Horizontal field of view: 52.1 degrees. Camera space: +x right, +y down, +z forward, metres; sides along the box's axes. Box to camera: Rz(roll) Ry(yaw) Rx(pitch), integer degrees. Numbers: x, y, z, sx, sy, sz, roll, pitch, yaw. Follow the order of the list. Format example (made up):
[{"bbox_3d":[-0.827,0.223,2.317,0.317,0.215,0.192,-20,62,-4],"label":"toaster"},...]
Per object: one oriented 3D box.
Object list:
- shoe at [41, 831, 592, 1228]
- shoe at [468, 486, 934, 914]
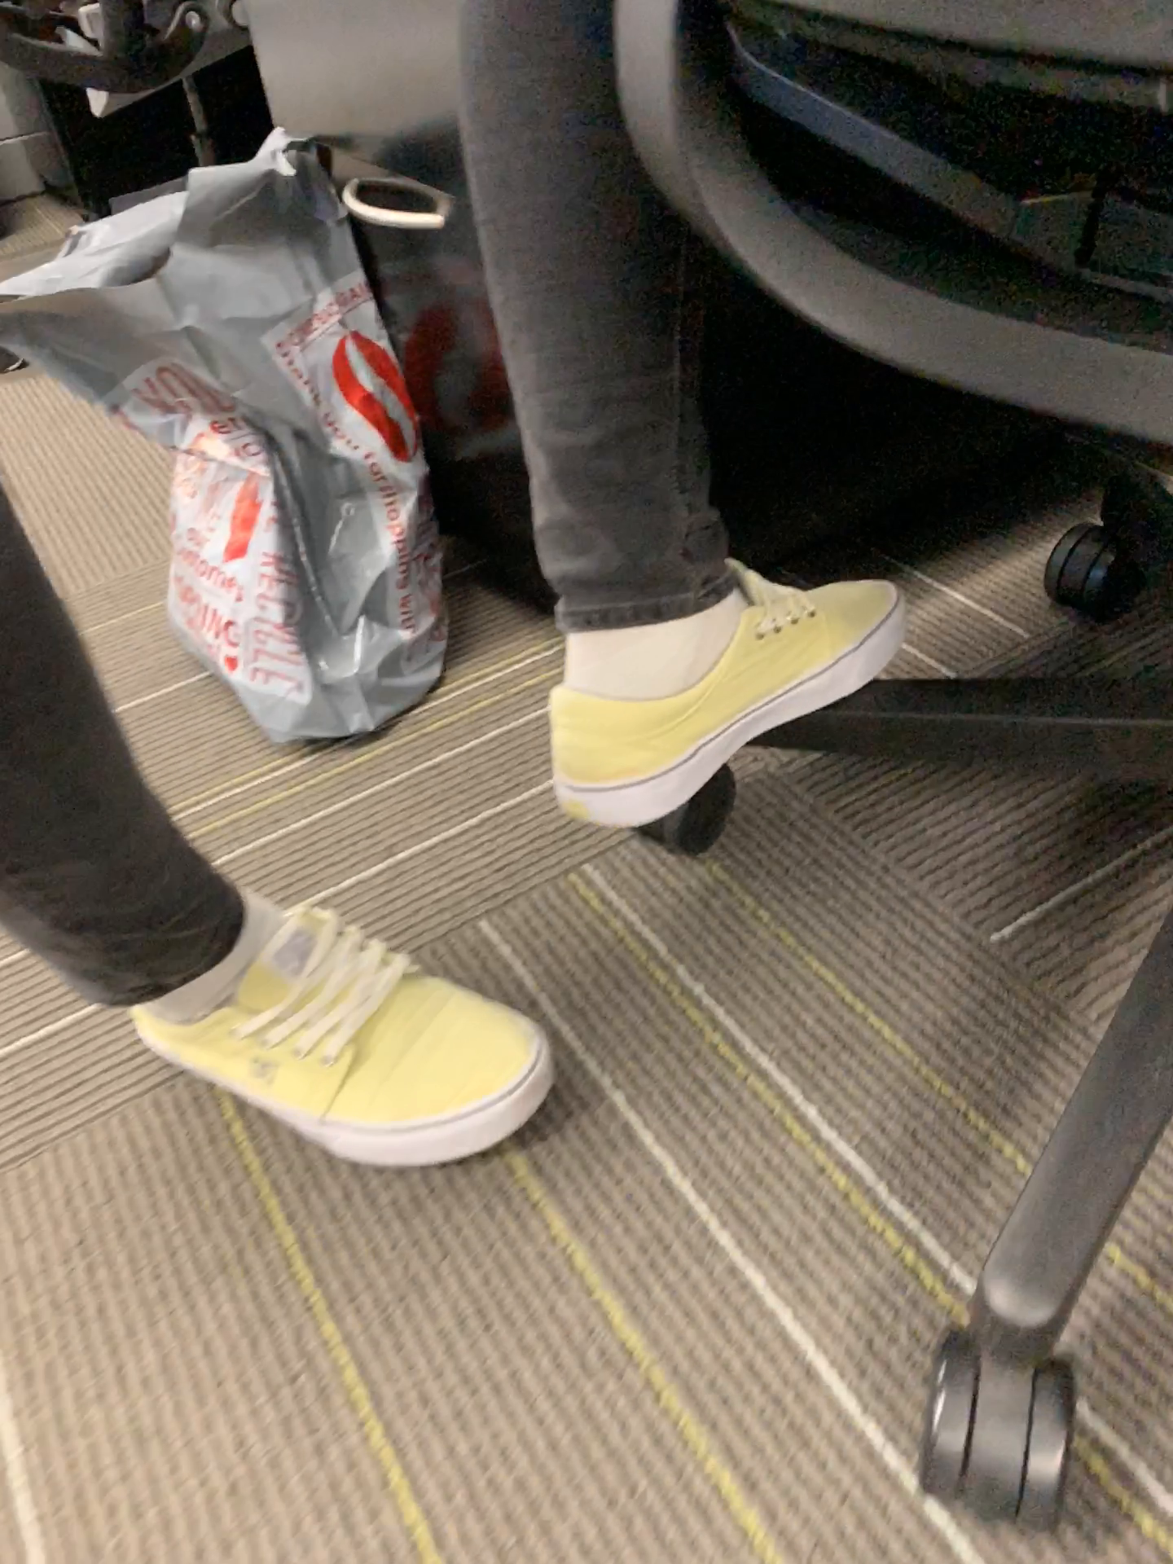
[{"bbox_3d":[-0.145,0.126,0.657,0.269,0.101,0.102,13,45,24],"label":"shoe"},{"bbox_3d":[0.073,-0.056,0.672,0.260,0.096,0.099,-36,47,-27],"label":"shoe"}]
